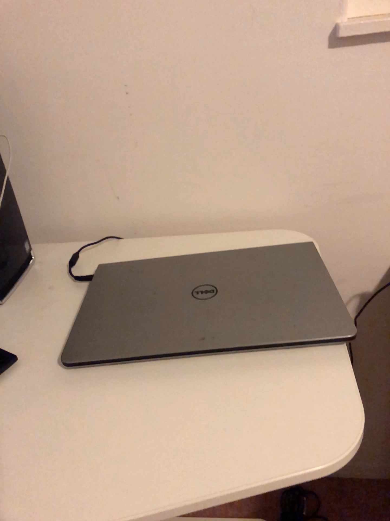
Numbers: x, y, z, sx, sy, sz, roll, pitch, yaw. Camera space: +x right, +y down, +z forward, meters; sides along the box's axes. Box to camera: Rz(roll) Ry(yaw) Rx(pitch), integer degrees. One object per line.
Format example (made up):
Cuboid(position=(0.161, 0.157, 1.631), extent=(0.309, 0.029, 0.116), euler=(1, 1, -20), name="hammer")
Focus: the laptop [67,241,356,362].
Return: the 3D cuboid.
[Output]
Cuboid(position=(0.015, 0.050, 0.654), extent=(0.371, 0.001, 0.248), euler=(-7, 30, 5), name="laptop")
